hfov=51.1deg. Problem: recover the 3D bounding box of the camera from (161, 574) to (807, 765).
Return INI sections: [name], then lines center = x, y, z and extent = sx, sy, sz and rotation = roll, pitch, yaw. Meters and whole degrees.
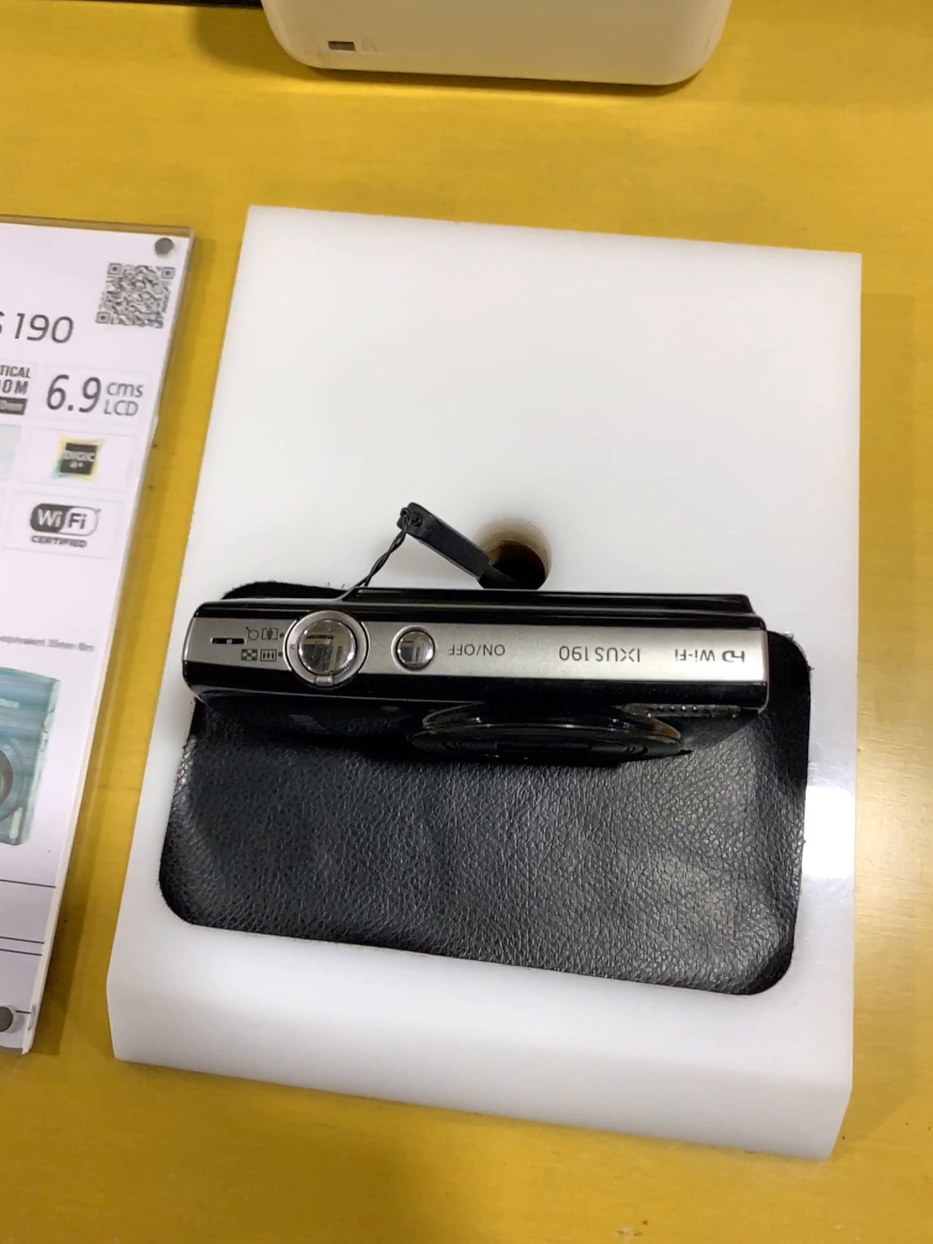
[camera]
center = 0.003, 0.011, 0.167
extent = 0.090, 0.060, 0.020
rotation = 1, 76, 3
